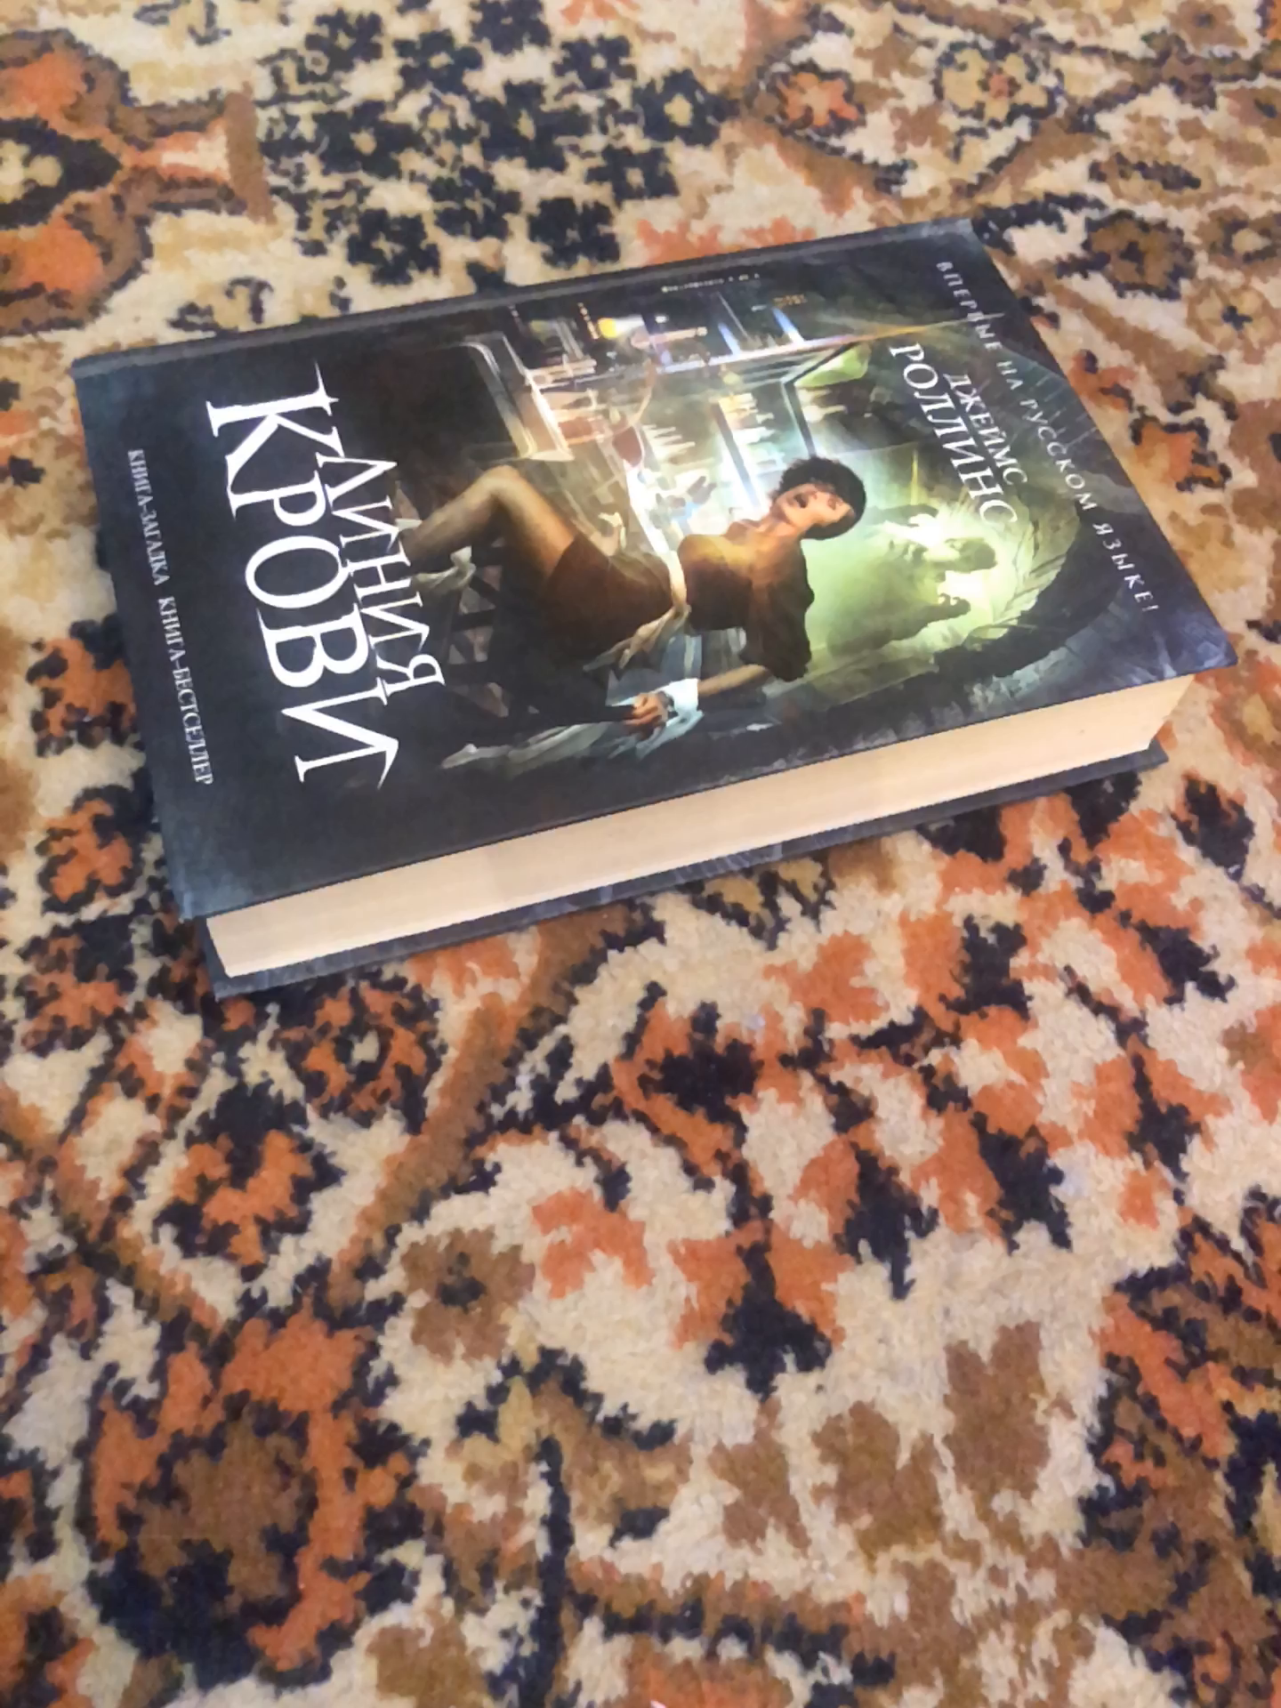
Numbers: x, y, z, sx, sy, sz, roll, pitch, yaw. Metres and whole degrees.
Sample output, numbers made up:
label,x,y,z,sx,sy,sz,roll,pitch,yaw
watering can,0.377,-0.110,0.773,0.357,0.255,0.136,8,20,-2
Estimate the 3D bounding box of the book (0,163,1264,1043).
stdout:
label,x,y,z,sx,sy,sz,roll,pitch,yaw
book,-0.009,-0.068,0.312,0.226,0.040,0.159,-14,63,-12
